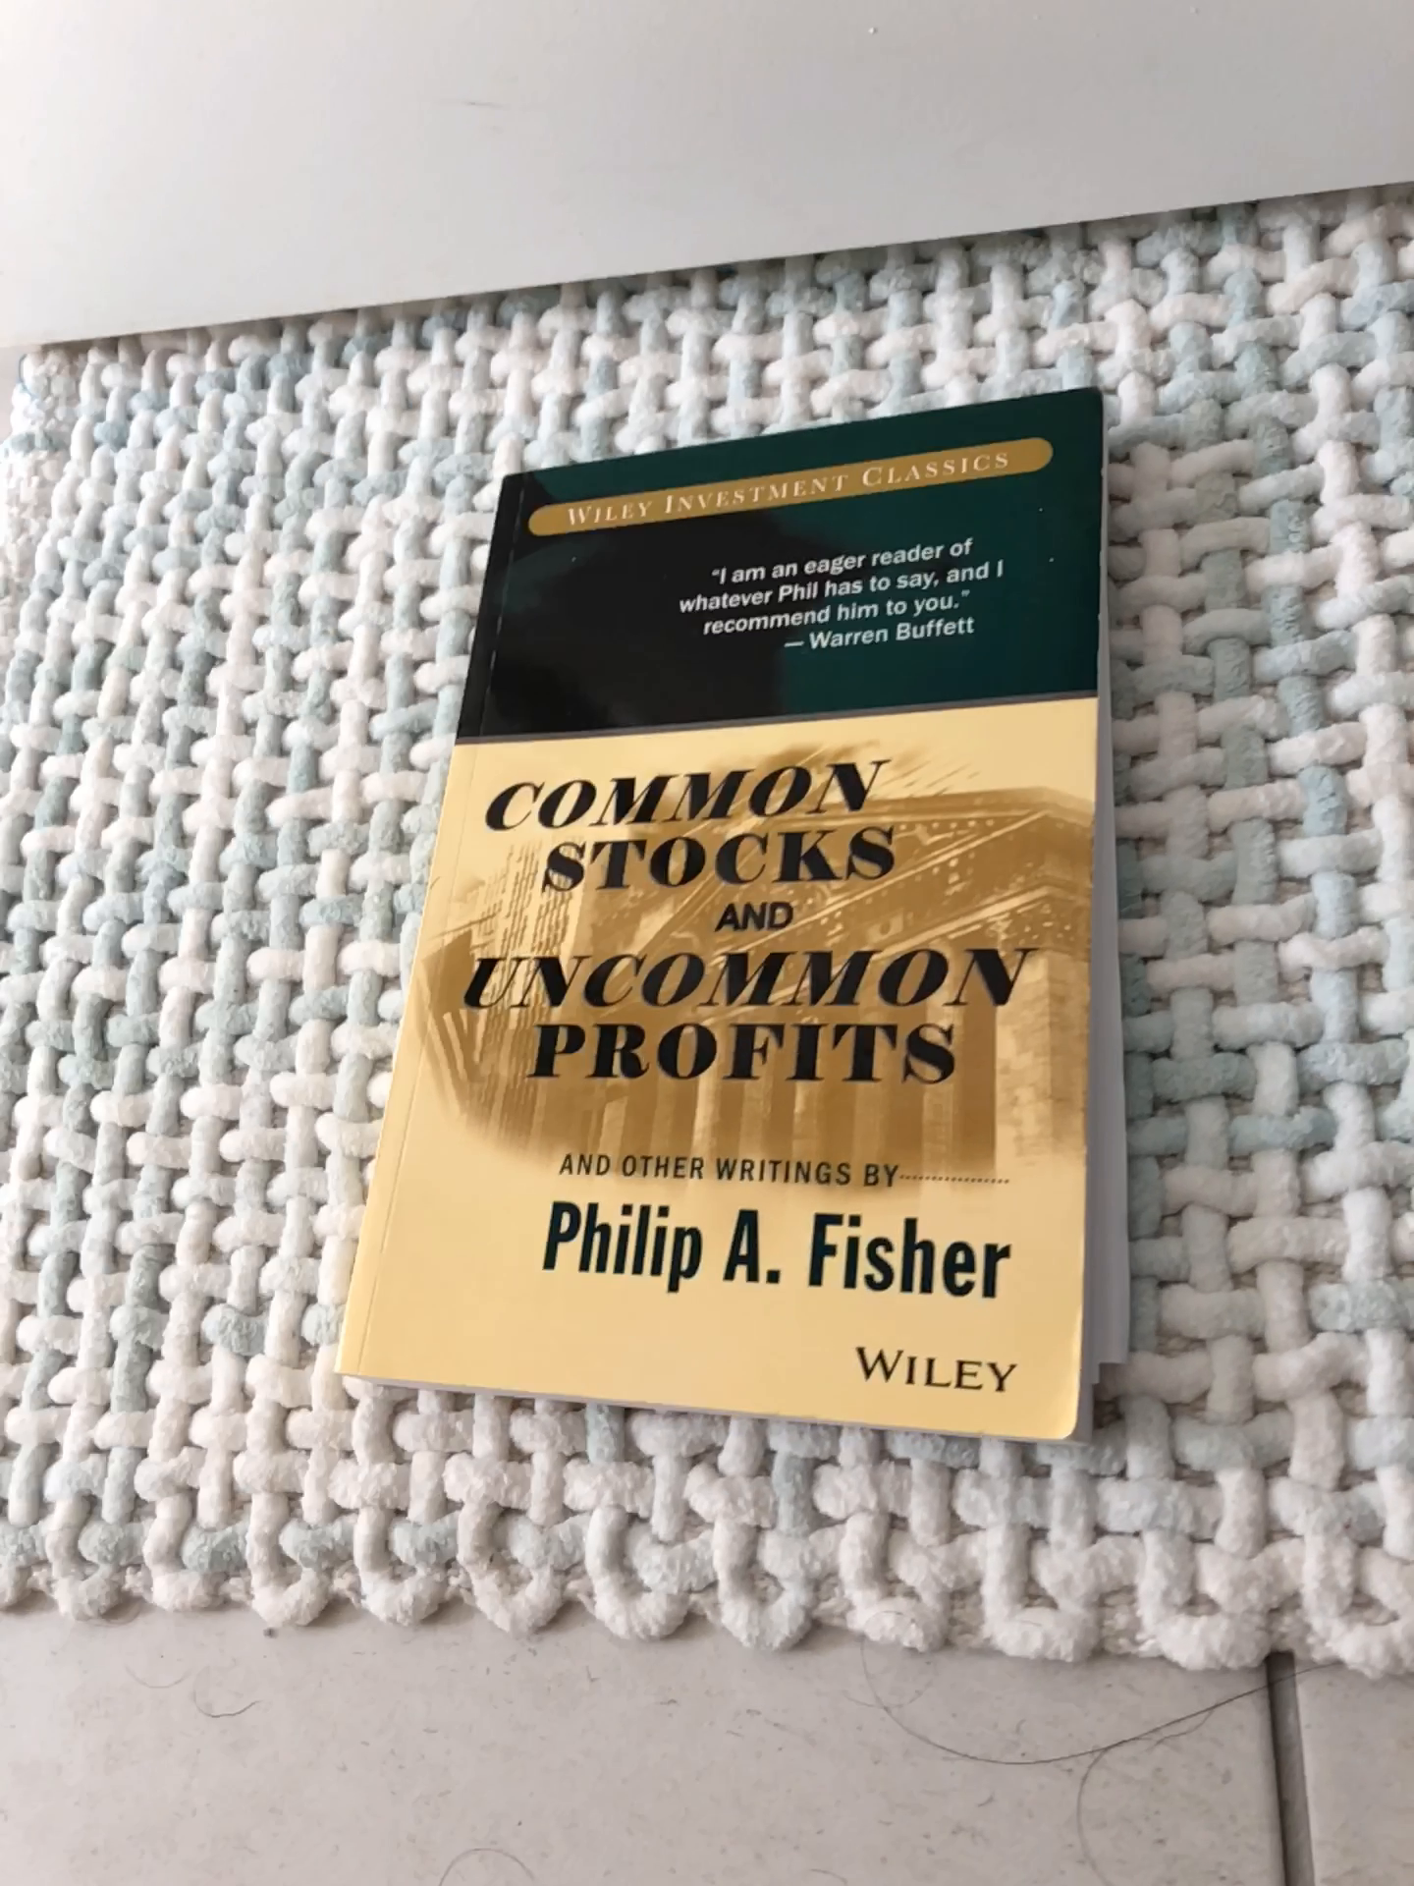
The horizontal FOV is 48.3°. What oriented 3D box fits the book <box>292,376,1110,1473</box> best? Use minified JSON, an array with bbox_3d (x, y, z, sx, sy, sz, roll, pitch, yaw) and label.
[{"bbox_3d":[0.005,-0.014,0.371,0.167,0.026,0.247,-1,68,21],"label":"book"}]
